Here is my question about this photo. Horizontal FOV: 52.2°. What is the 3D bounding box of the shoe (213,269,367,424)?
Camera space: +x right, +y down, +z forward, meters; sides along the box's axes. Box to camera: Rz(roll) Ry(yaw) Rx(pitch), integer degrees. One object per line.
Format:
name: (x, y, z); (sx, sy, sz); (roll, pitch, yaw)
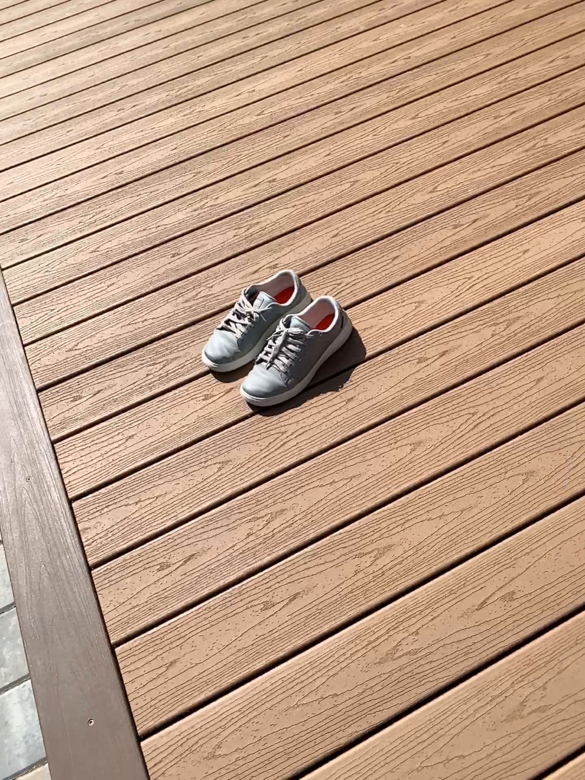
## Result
shoe: (0.004, -0.089, 1.156); (0.120, 0.100, 0.290); (36, 68, 28)

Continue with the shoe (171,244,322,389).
shoe: (-0.084, -0.151, 1.194); (0.280, 0.100, 0.120); (-42, 60, -19)
